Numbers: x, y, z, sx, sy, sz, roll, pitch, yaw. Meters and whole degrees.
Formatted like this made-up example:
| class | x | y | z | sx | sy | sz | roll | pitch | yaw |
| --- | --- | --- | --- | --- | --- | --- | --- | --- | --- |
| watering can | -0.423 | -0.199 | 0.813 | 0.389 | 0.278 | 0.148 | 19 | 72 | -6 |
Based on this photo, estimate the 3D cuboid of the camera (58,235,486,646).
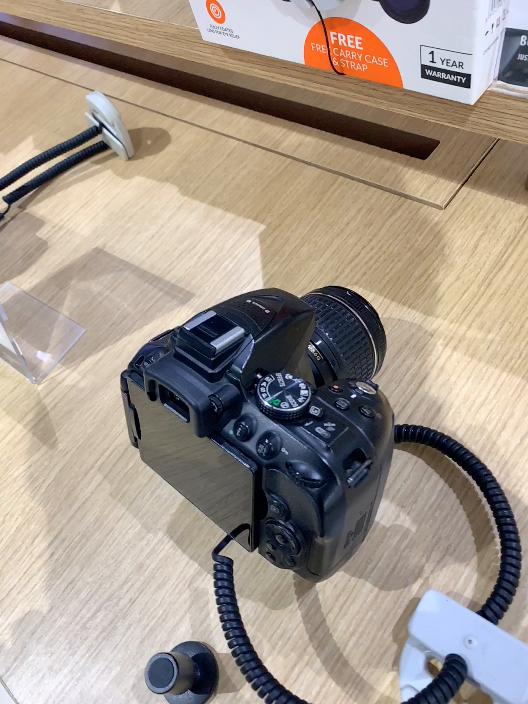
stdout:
| class | x | y | z | sx | sy | sz | roll | pitch | yaw |
| --- | --- | --- | --- | --- | --- | --- | --- | --- | --- |
| camera | 0.002 | 0.024 | 0.242 | 0.130 | 0.080 | 0.110 | 30 | 48 | 30 |
